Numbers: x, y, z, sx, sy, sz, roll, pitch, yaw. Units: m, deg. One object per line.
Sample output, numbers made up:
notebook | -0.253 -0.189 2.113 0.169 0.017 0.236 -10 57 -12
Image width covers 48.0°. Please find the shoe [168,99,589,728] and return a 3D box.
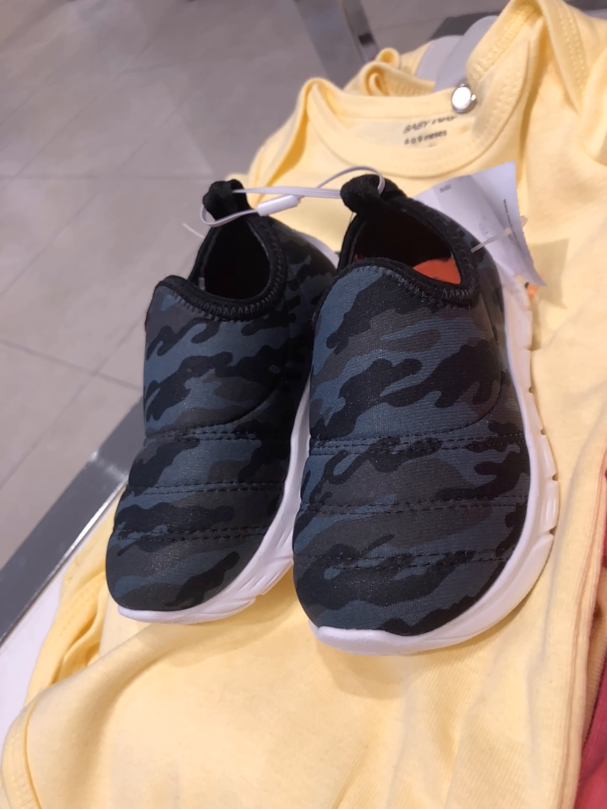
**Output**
shoe | 0.031 -0.003 0.190 0.070 0.070 0.151 -9 49 26

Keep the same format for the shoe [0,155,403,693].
shoe | -0.027 0.002 0.232 0.070 0.080 0.150 -3 52 30
